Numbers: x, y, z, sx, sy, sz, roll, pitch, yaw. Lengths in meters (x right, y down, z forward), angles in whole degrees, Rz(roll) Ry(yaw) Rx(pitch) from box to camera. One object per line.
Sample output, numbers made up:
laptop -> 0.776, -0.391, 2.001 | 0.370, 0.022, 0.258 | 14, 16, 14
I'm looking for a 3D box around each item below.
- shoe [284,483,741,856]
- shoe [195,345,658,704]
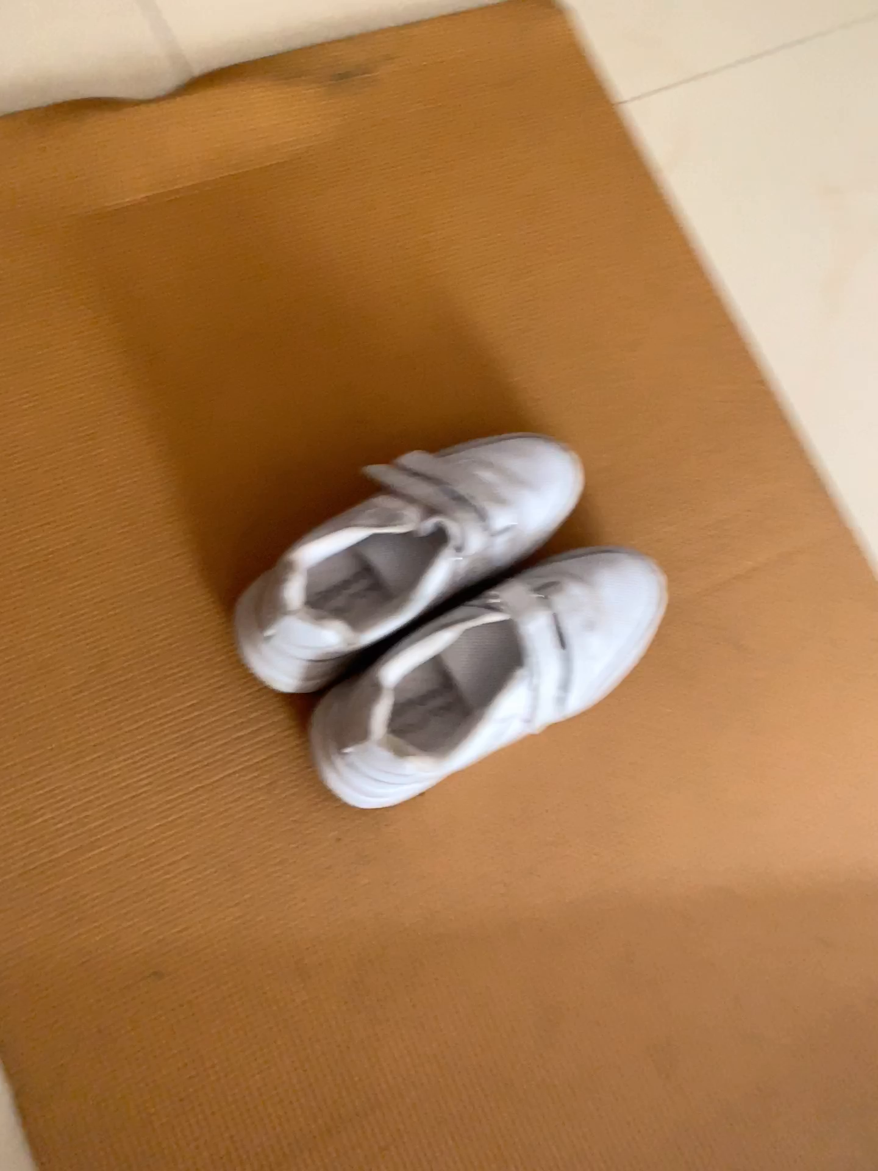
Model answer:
shoe -> 0.038, 0.049, 0.524 | 0.240, 0.100, 0.090 | -30, 82, -16
shoe -> -0.005, -0.038, 0.529 | 0.250, 0.070, 0.090 | -30, 82, -16
